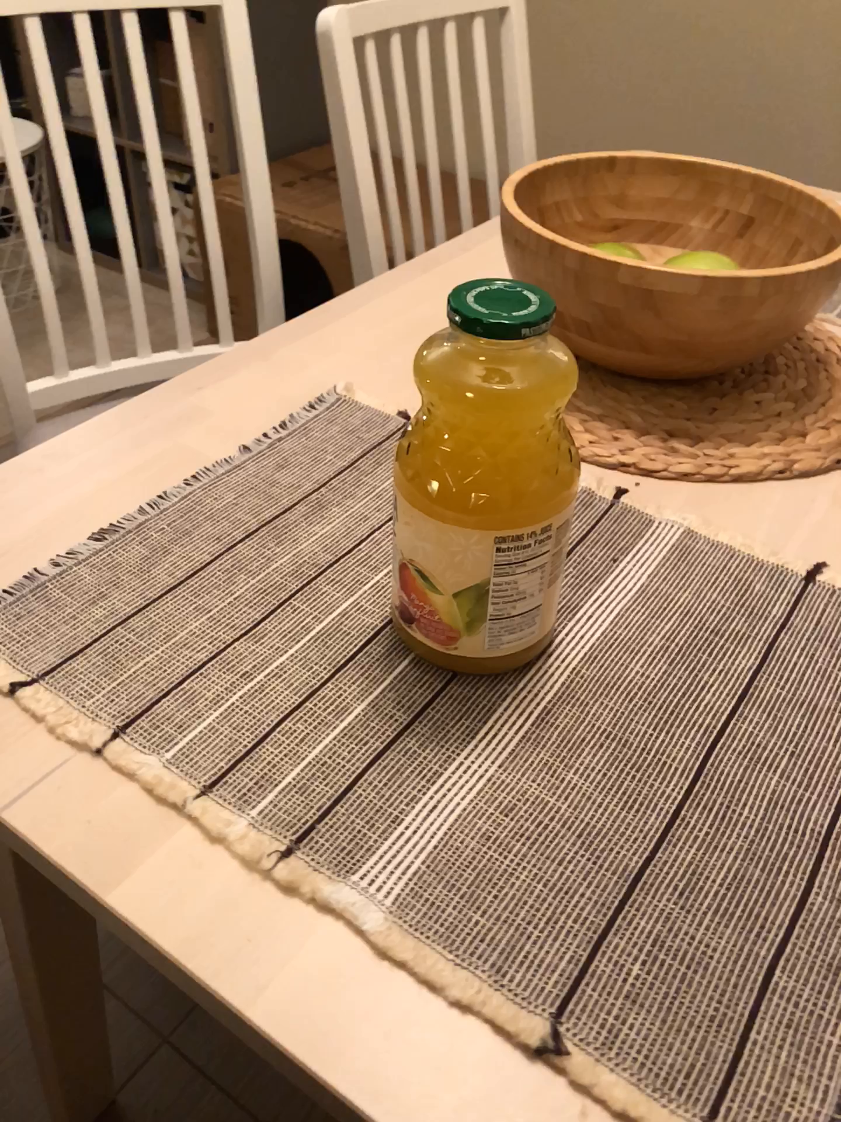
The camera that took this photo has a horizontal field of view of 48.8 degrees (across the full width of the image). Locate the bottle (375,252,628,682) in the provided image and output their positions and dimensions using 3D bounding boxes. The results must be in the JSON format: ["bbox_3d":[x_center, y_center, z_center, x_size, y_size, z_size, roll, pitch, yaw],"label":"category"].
[{"bbox_3d":[0.032,-0.044,0.475,0.100,0.189,0.101,2,38,-2],"label":"bottle"}]
